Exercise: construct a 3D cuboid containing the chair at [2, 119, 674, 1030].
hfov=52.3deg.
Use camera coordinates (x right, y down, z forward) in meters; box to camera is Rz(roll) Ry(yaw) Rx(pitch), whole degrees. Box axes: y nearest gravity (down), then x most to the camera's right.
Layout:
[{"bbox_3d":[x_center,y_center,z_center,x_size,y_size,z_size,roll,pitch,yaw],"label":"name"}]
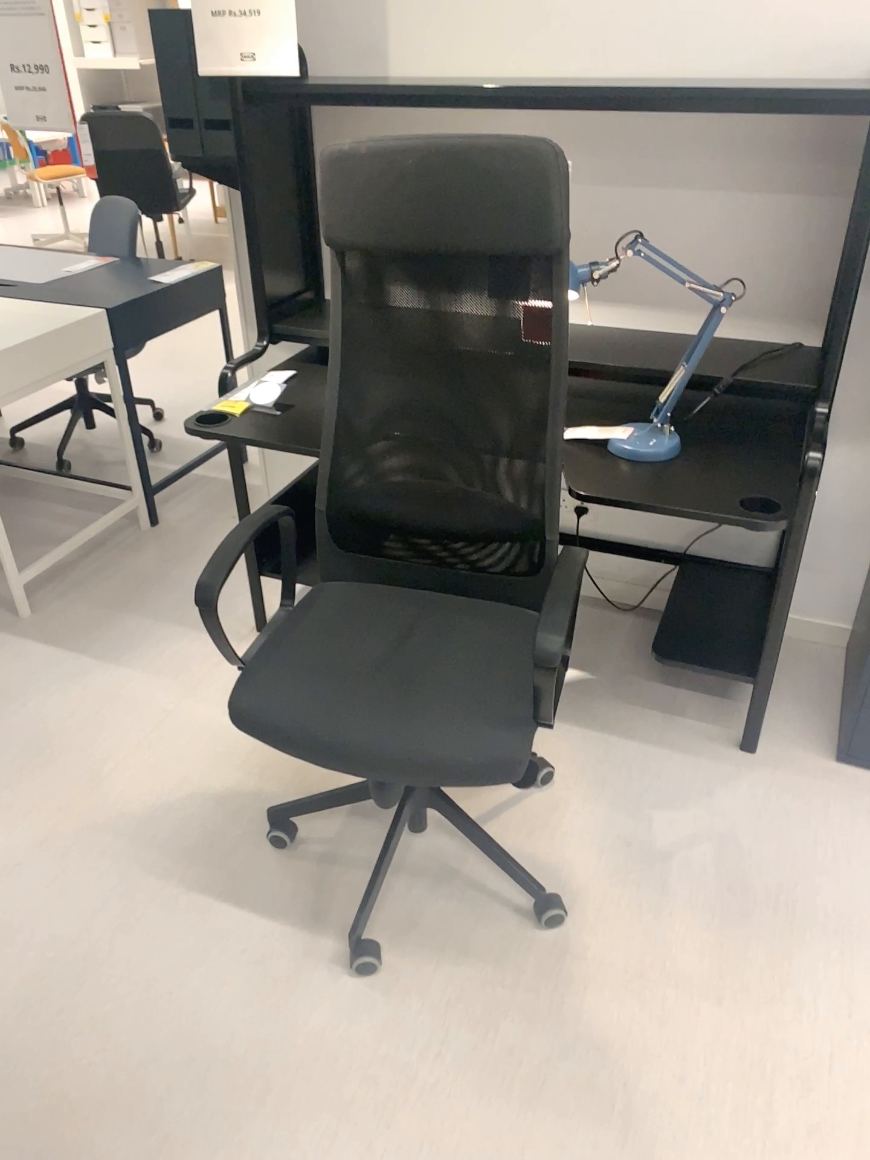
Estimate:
[{"bbox_3d":[-0.039,-0.035,1.476,0.640,1.244,0.713,9,33,16],"label":"chair"}]
